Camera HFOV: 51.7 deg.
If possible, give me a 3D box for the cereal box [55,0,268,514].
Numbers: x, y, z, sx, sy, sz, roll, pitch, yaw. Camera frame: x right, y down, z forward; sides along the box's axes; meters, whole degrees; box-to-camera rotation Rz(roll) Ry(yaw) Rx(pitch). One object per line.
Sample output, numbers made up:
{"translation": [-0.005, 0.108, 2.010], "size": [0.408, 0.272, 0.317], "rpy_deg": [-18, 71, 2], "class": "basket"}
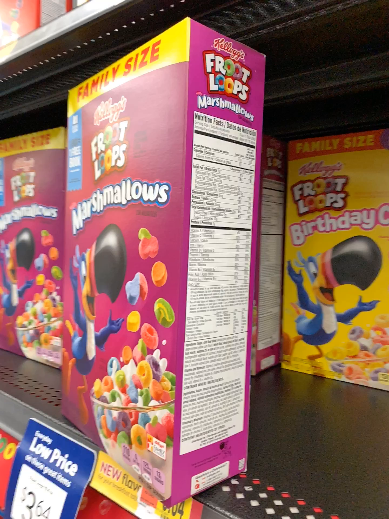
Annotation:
{"translation": [-0.045, -0.007, 0.363], "size": [0.080, 0.340, 0.200], "rpy_deg": [0, 3, -40], "class": "cereal box"}
